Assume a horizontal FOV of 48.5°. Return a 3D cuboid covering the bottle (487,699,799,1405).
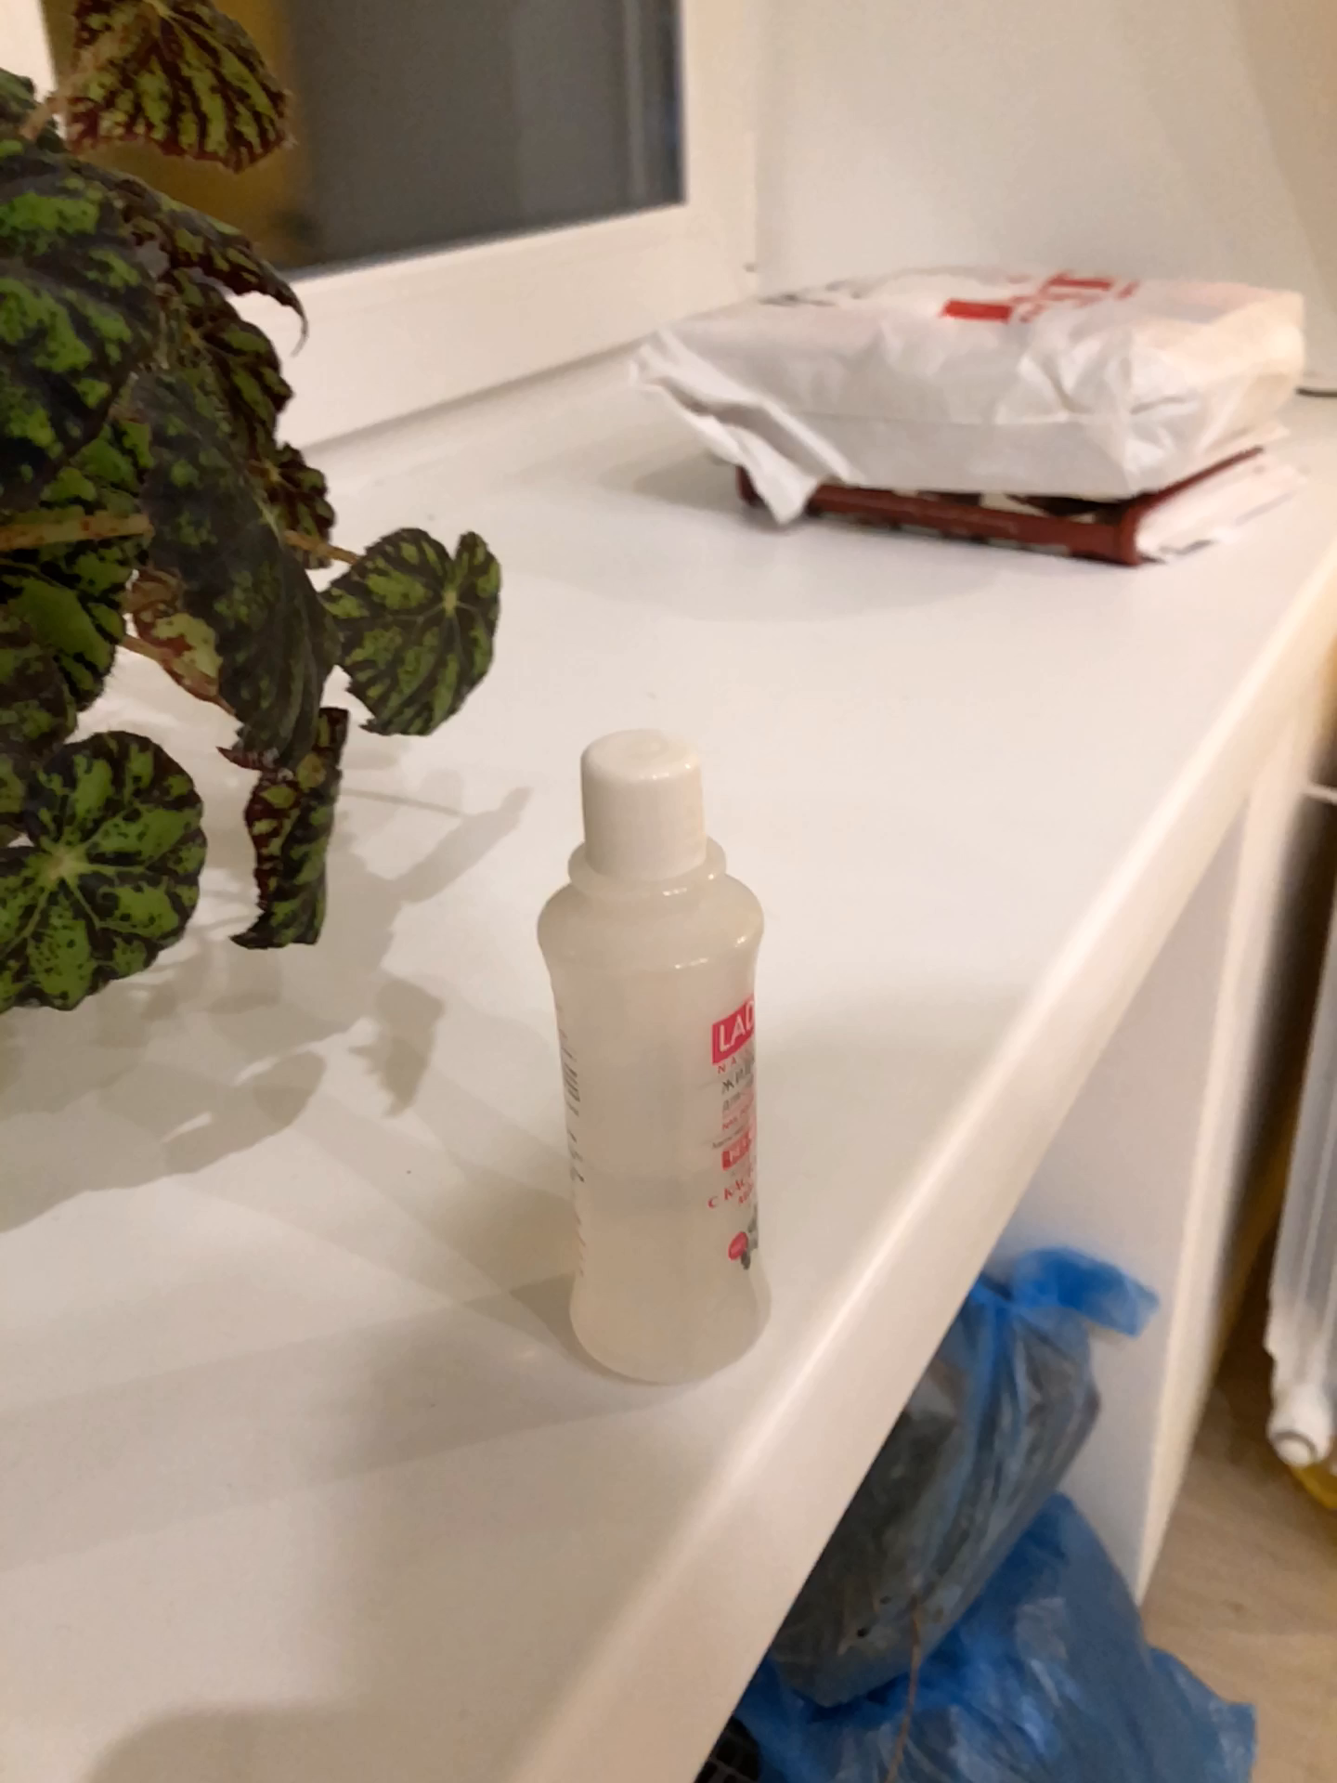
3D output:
[{"bbox_3d":[0.000,0.027,0.235,0.036,0.105,0.037,-2,28,1],"label":"bottle"}]
